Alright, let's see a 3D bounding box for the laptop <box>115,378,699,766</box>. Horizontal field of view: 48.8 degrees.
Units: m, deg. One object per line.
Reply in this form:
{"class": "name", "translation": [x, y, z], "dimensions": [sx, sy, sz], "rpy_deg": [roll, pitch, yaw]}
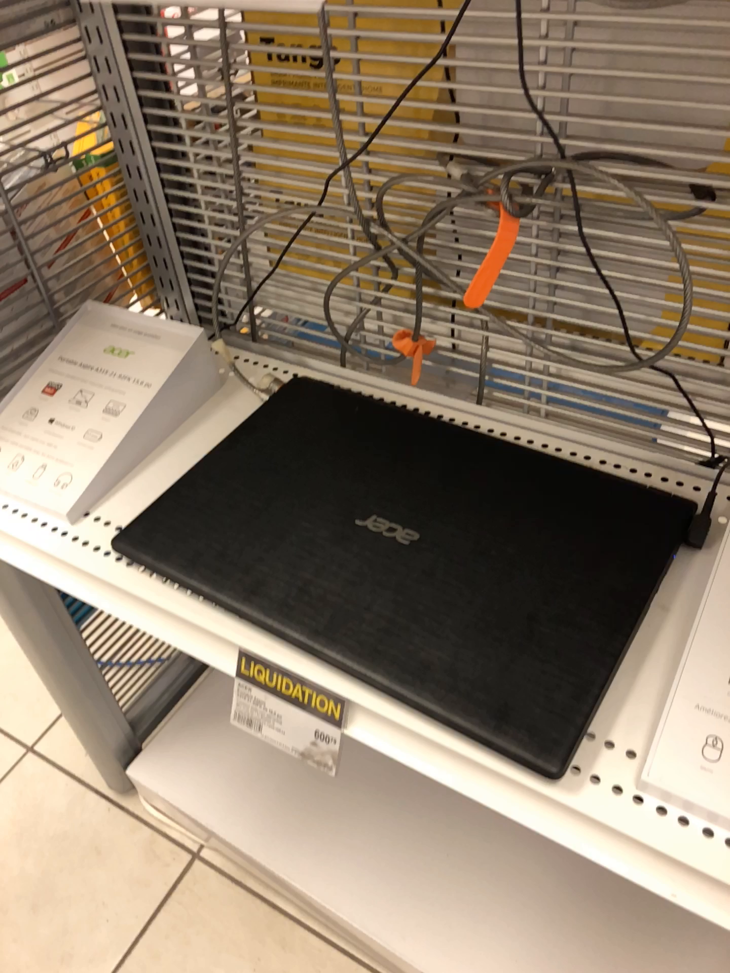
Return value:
{"class": "laptop", "translation": [0.027, 0.029, 0.624], "dimensions": [0.375, 0.003, 0.247], "rpy_deg": [21, 49, 27]}
